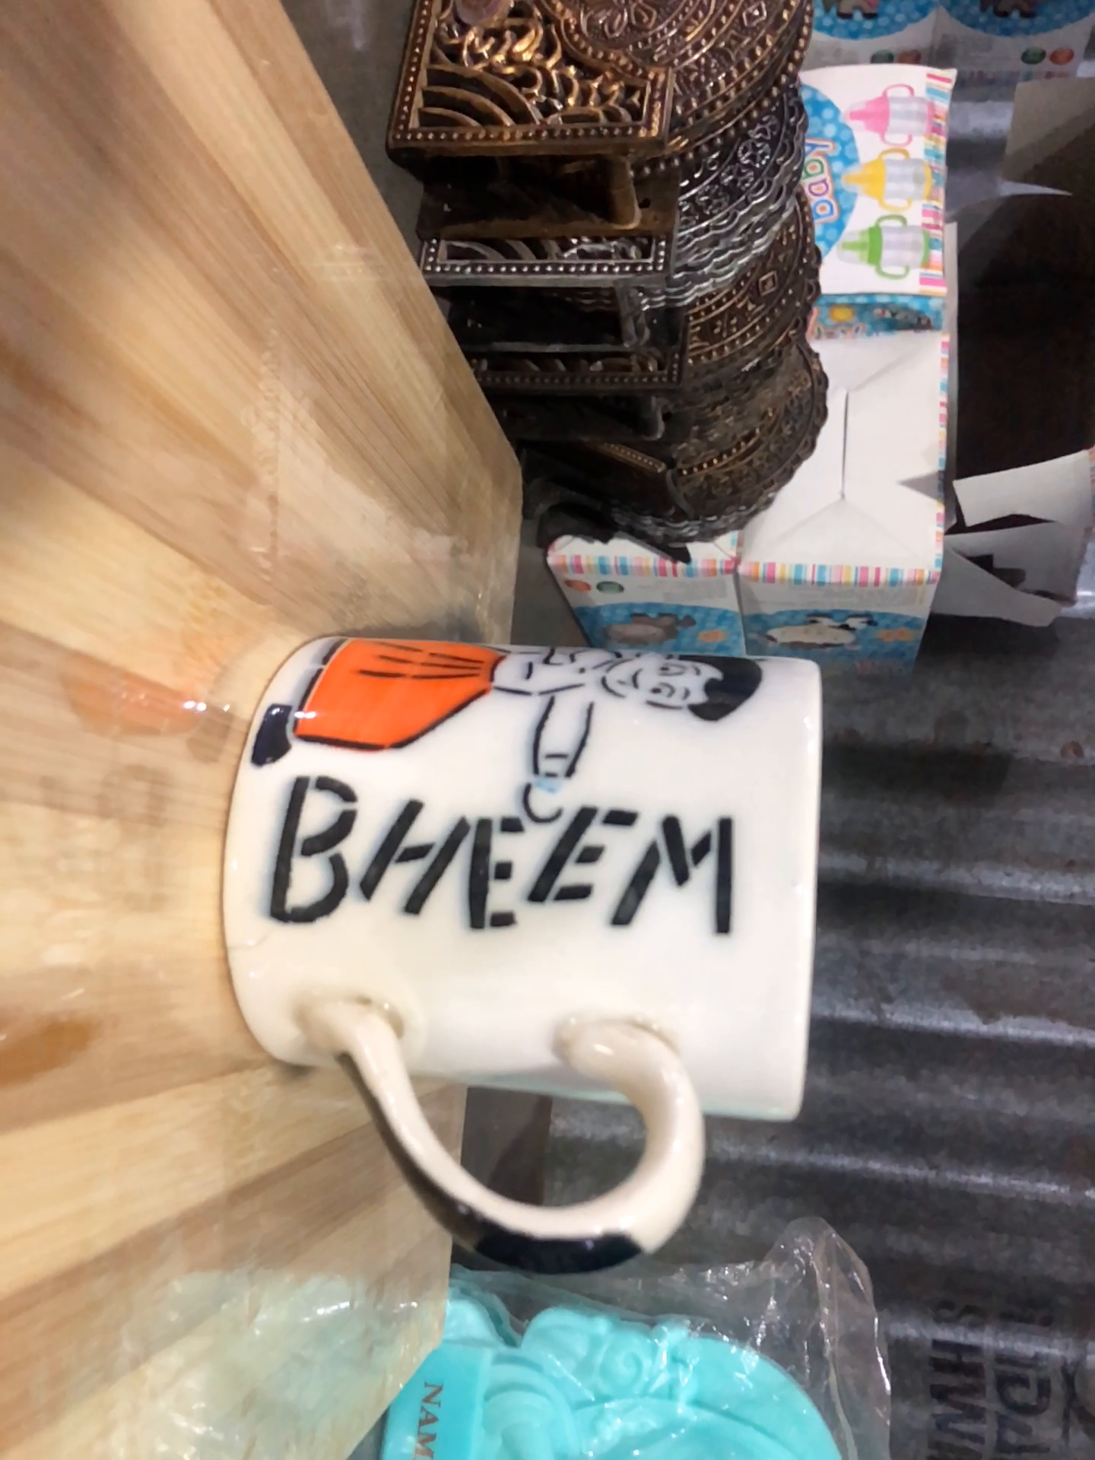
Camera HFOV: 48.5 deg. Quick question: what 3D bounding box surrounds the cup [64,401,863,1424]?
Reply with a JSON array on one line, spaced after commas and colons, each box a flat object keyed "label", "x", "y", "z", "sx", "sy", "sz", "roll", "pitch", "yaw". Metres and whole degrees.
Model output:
[{"label": "cup", "x": 0.003, "y": 0.023, "z": 0.196, "sx": 0.120, "sy": 0.080, "sz": 0.100, "roll": -76, "pitch": 167, "yaw": -45}]
